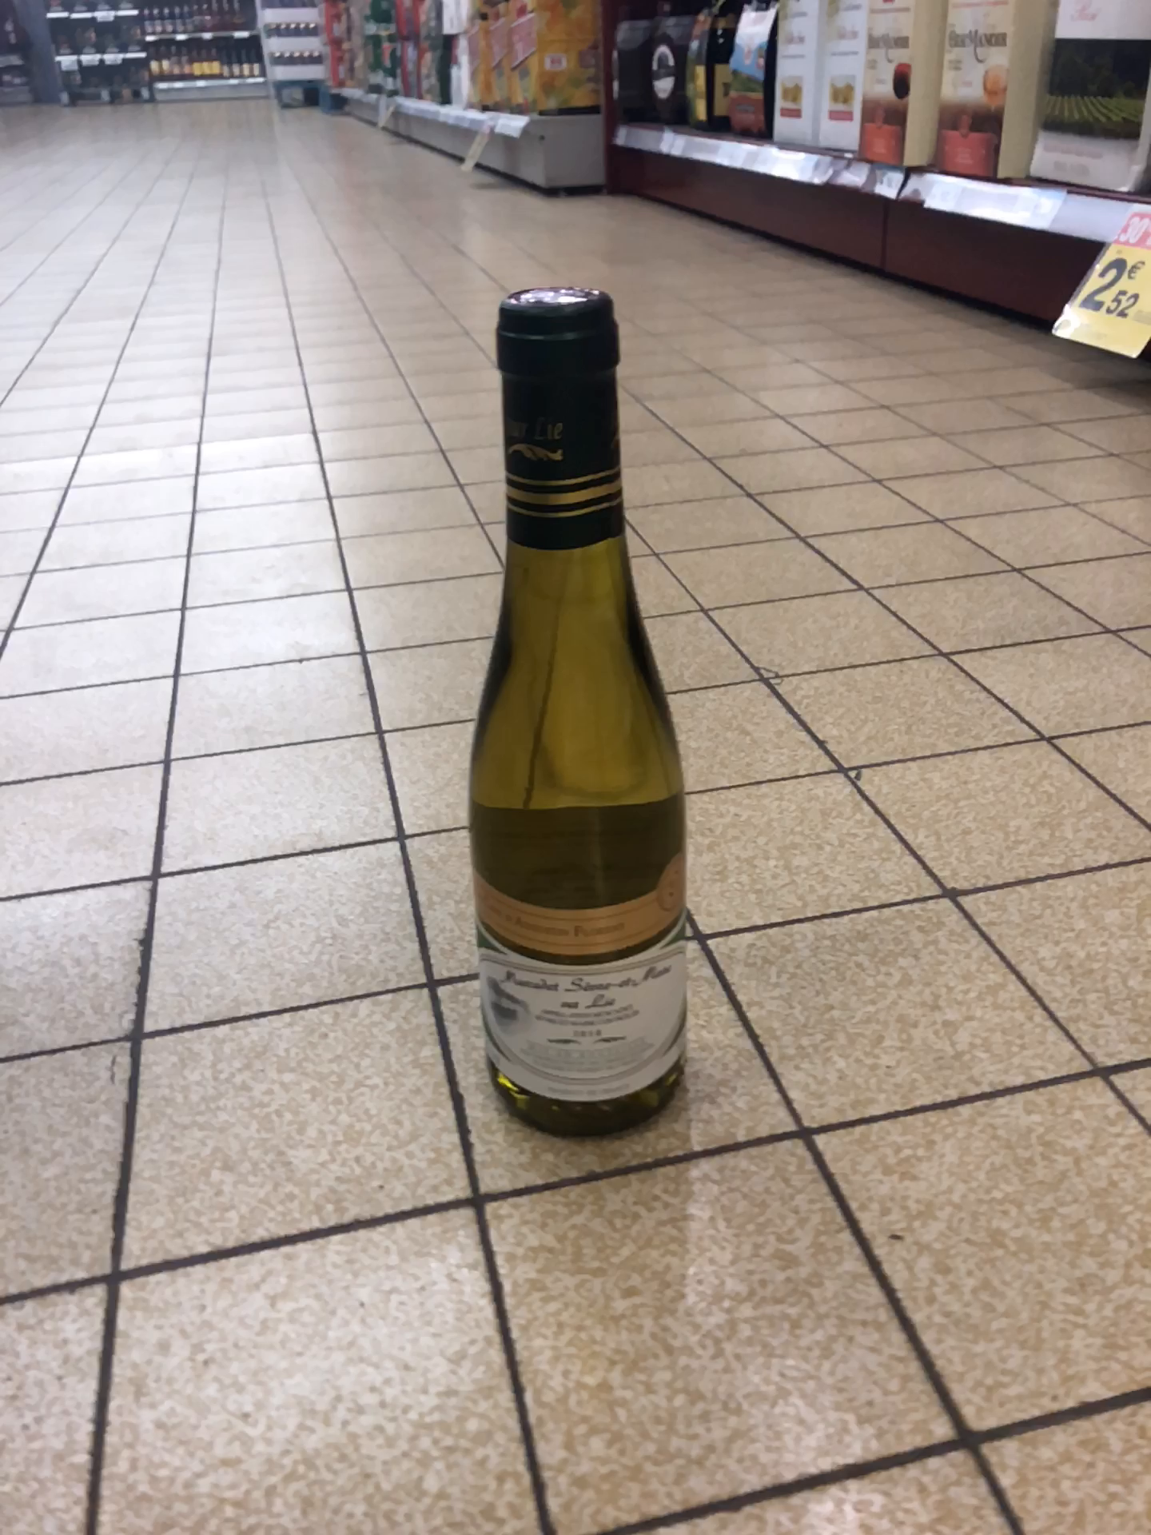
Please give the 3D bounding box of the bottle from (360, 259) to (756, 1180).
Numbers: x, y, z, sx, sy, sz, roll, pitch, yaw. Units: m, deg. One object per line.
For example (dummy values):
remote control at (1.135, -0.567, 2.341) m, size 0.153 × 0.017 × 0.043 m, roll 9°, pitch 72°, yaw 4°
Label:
bottle at (0.005, -0.007, 0.350) m, size 0.080 × 0.239 × 0.080 m, roll -2°, pitch 28°, yaw 1°
